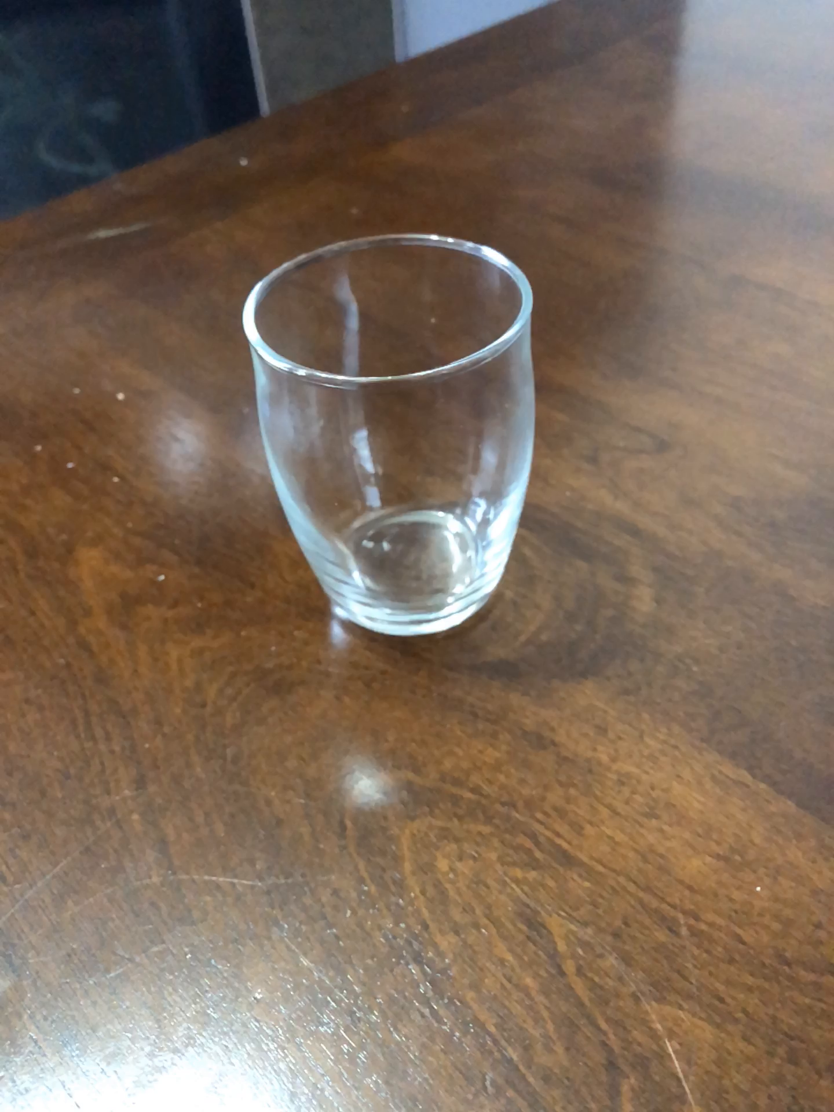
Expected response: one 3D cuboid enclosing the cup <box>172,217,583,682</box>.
[{"bbox_3d":[-0.004,-0.025,0.210,0.060,0.070,0.060,-3,44,3],"label":"cup"}]
